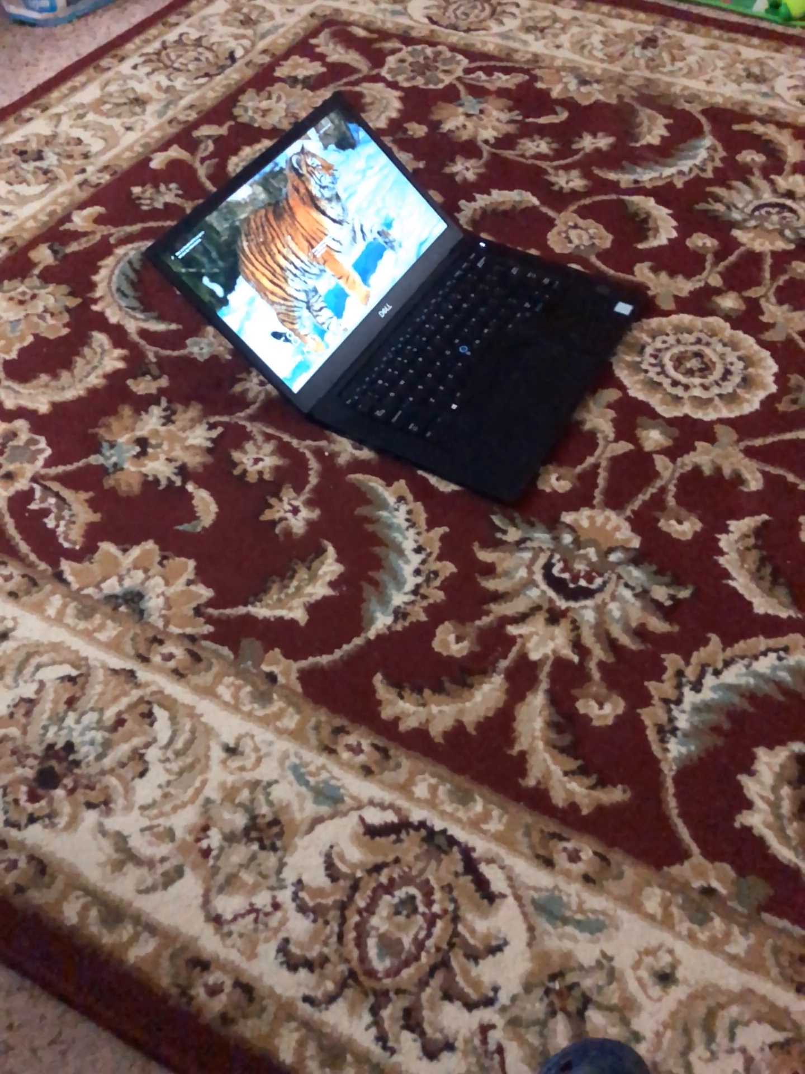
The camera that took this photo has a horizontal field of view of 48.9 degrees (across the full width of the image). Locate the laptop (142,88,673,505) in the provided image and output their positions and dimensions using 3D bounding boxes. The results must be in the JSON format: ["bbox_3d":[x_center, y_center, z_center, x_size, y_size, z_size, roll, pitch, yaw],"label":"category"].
[{"bbox_3d":[0.012,-0.259,0.874,0.384,0.124,0.328,25,58,18],"label":"laptop"}]
